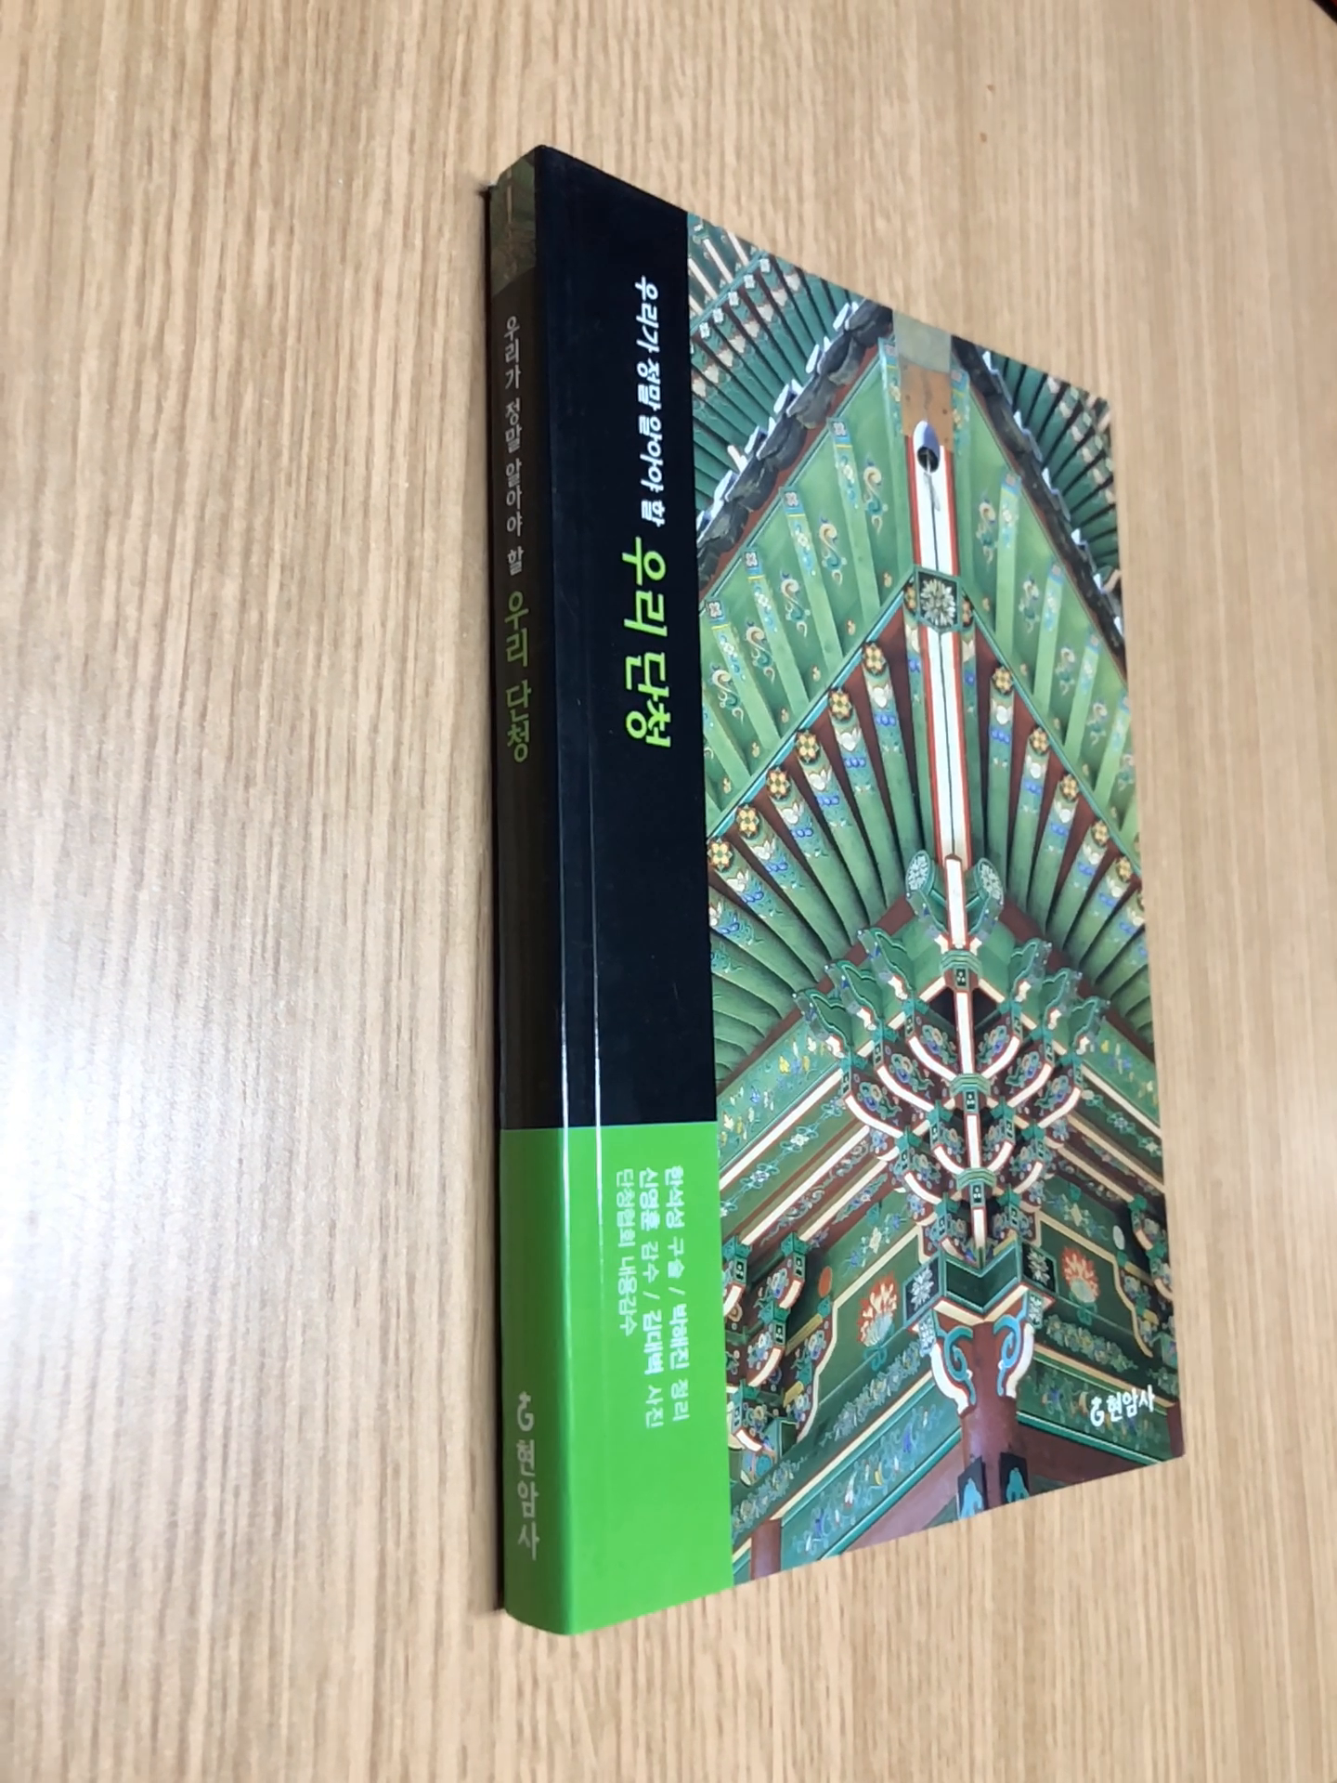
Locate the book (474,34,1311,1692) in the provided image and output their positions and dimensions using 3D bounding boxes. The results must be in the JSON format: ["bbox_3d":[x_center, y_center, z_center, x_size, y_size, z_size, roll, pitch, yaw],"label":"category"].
[{"bbox_3d":[0.045,-0.005,0.248,0.161,0.030,0.210,5,80,-40],"label":"book"}]
